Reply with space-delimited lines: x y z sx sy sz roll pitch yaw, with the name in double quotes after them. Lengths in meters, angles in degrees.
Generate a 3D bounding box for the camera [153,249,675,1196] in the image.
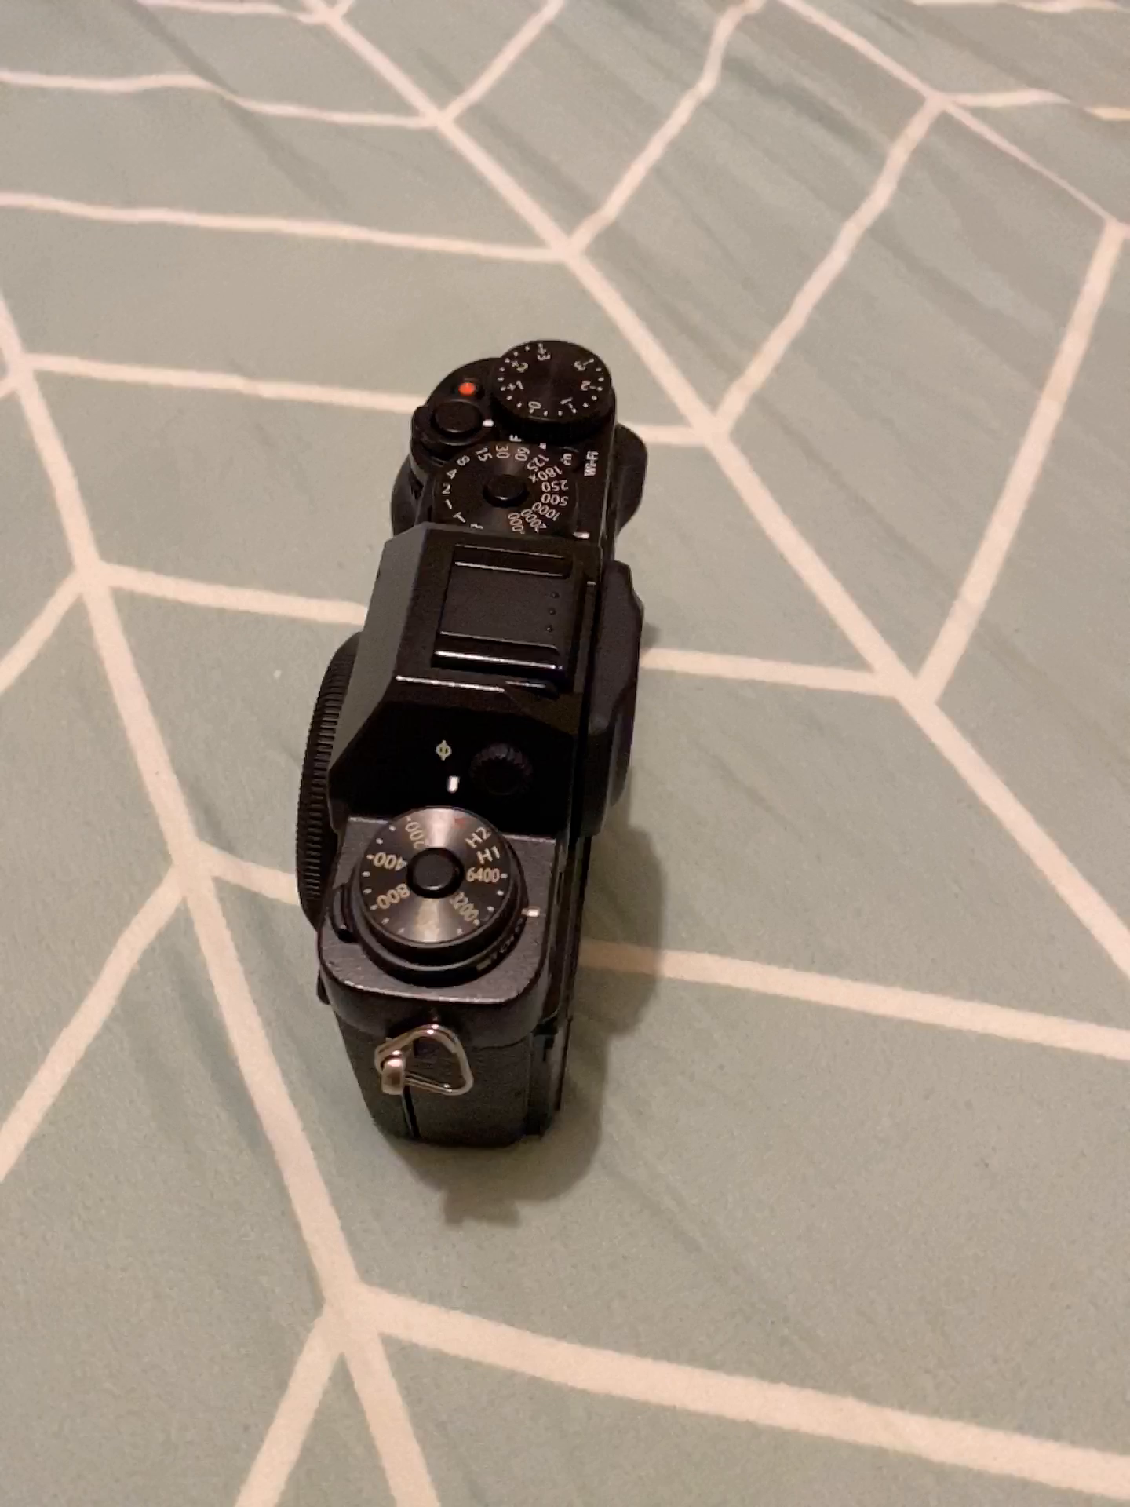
-0.016 -0.007 0.209 0.054 0.082 0.142 6 57 1 "camera"
